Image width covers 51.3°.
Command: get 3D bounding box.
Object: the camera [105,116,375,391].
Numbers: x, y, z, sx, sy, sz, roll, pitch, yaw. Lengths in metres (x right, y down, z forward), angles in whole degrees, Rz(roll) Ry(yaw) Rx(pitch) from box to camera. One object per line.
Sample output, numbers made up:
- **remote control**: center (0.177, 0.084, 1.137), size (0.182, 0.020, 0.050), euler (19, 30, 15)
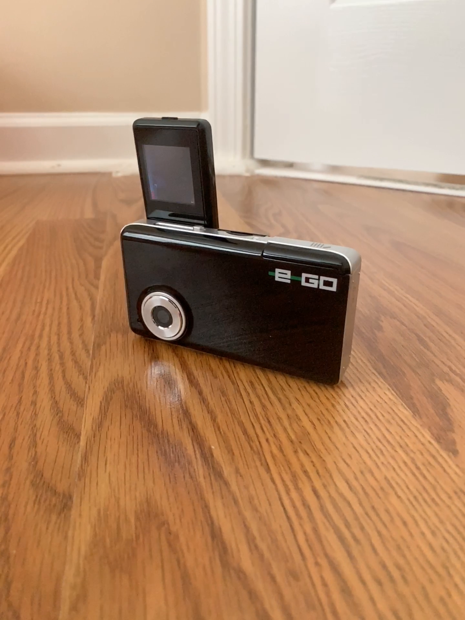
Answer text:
- **camera**: center (-0.001, -0.030, 0.229), size (0.119, 0.111, 0.022), euler (12, 26, 25)
